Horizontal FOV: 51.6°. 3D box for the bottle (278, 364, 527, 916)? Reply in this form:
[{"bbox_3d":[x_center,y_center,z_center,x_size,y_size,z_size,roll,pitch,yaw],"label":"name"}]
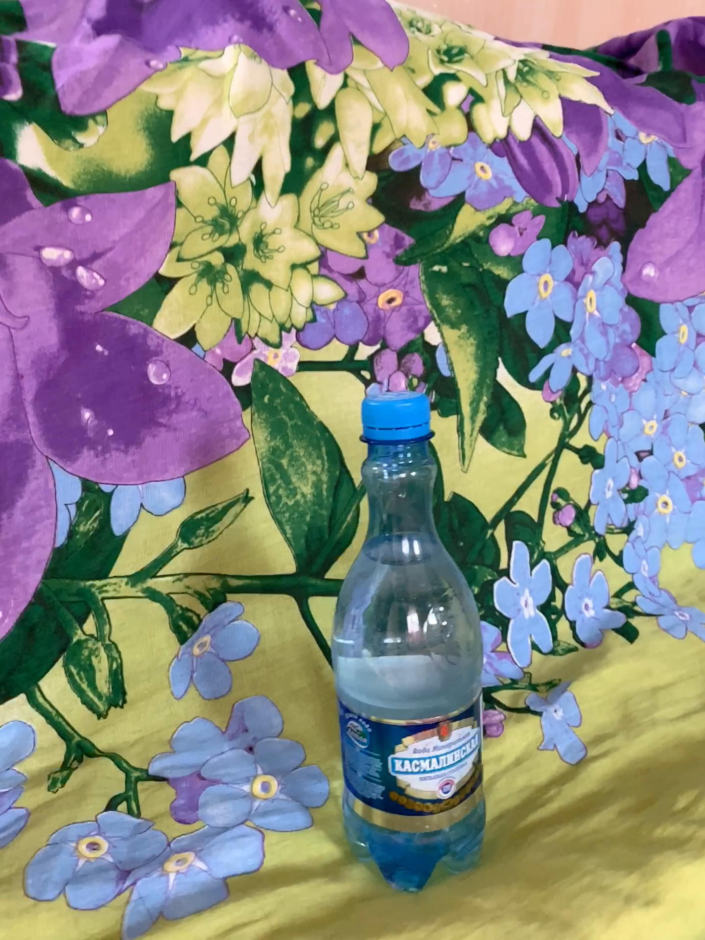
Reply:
[{"bbox_3d":[0.024,0.070,0.328,0.080,0.219,0.070,-9,16,-20],"label":"bottle"}]
